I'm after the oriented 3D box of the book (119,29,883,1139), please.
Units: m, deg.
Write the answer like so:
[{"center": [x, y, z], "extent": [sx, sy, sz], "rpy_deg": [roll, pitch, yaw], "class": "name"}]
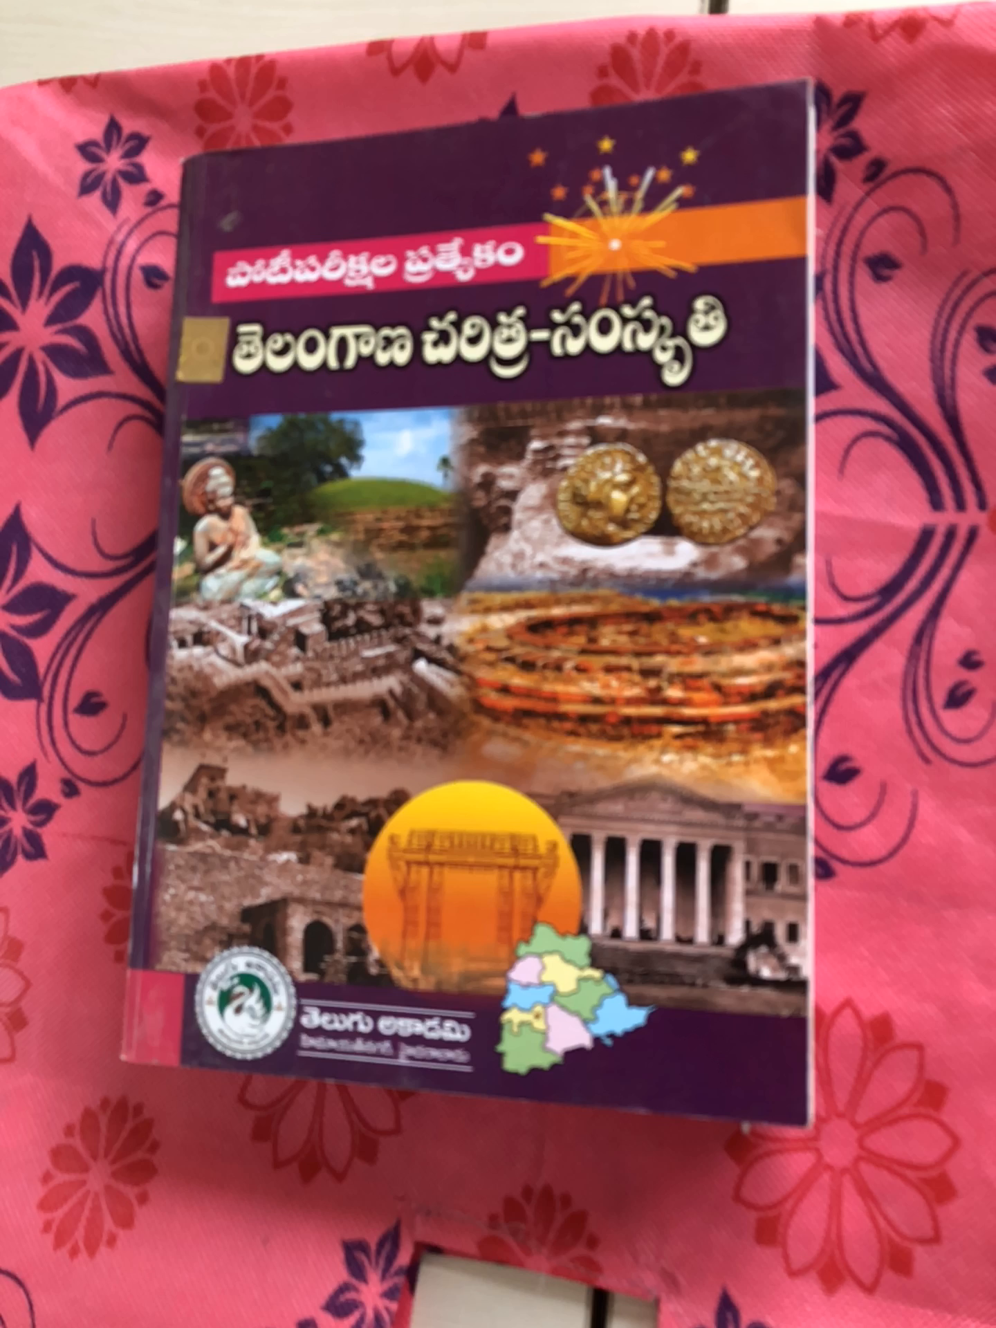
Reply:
[{"center": [0.003, -0.026, 0.318], "extent": [0.200, 0.050, 0.280], "rpy_deg": [0, 83, 14], "class": "book"}]
